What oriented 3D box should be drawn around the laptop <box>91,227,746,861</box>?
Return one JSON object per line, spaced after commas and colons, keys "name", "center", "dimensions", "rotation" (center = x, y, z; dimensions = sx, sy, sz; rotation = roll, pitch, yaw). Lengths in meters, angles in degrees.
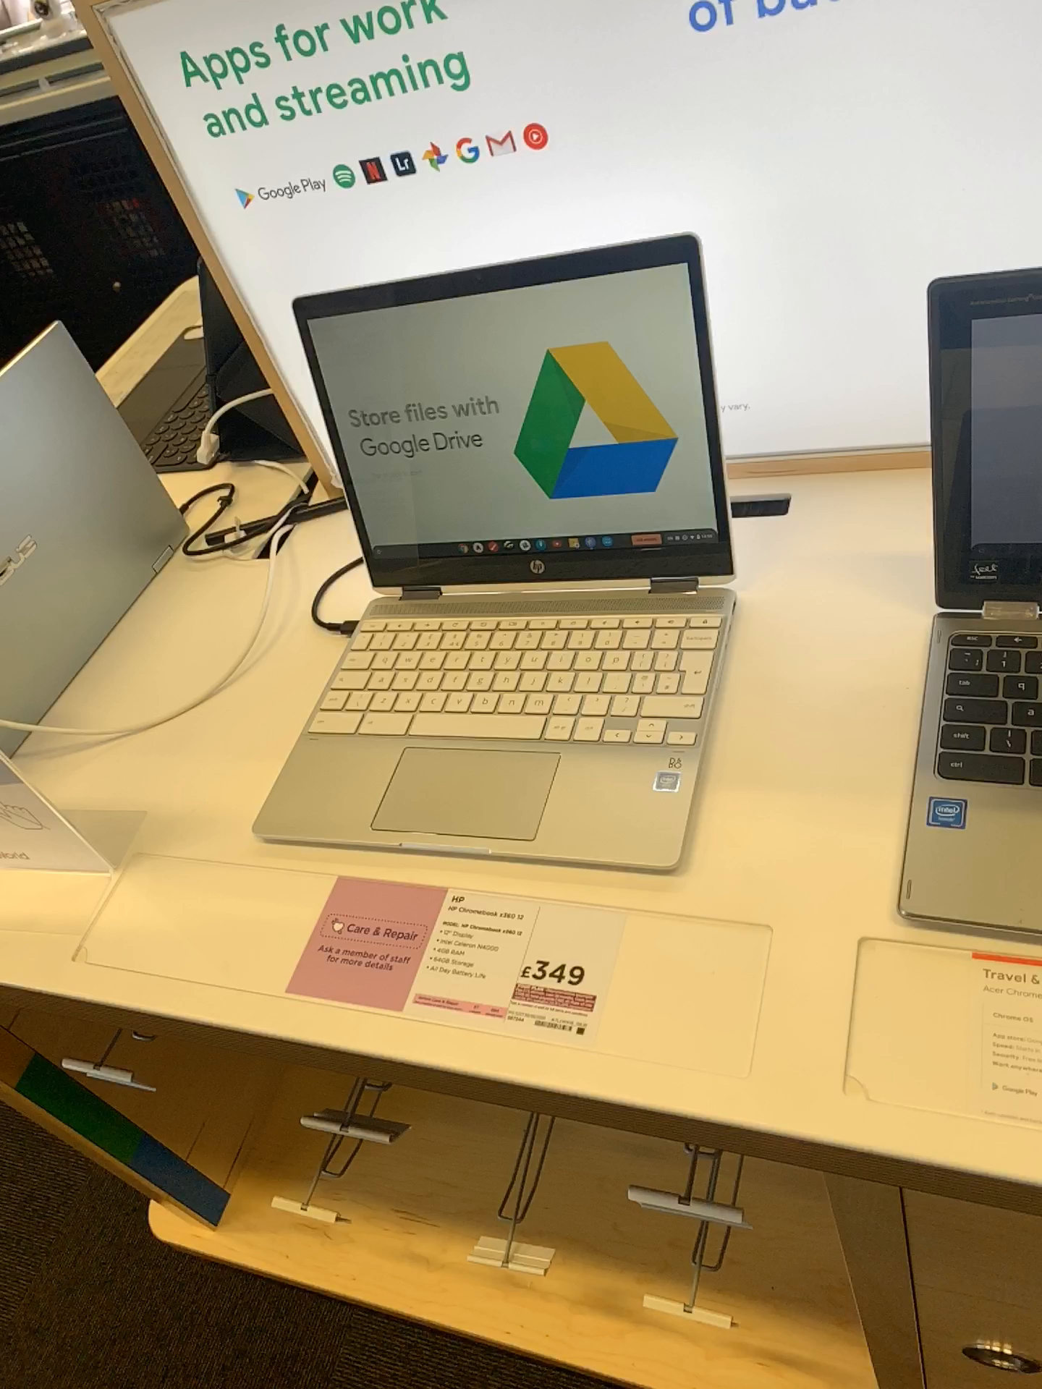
{"name": "laptop", "center": [-0.032, -0.085, 0.615], "dimensions": [0.258, 0.190, 0.271], "rotation": [1, 50, 24]}
